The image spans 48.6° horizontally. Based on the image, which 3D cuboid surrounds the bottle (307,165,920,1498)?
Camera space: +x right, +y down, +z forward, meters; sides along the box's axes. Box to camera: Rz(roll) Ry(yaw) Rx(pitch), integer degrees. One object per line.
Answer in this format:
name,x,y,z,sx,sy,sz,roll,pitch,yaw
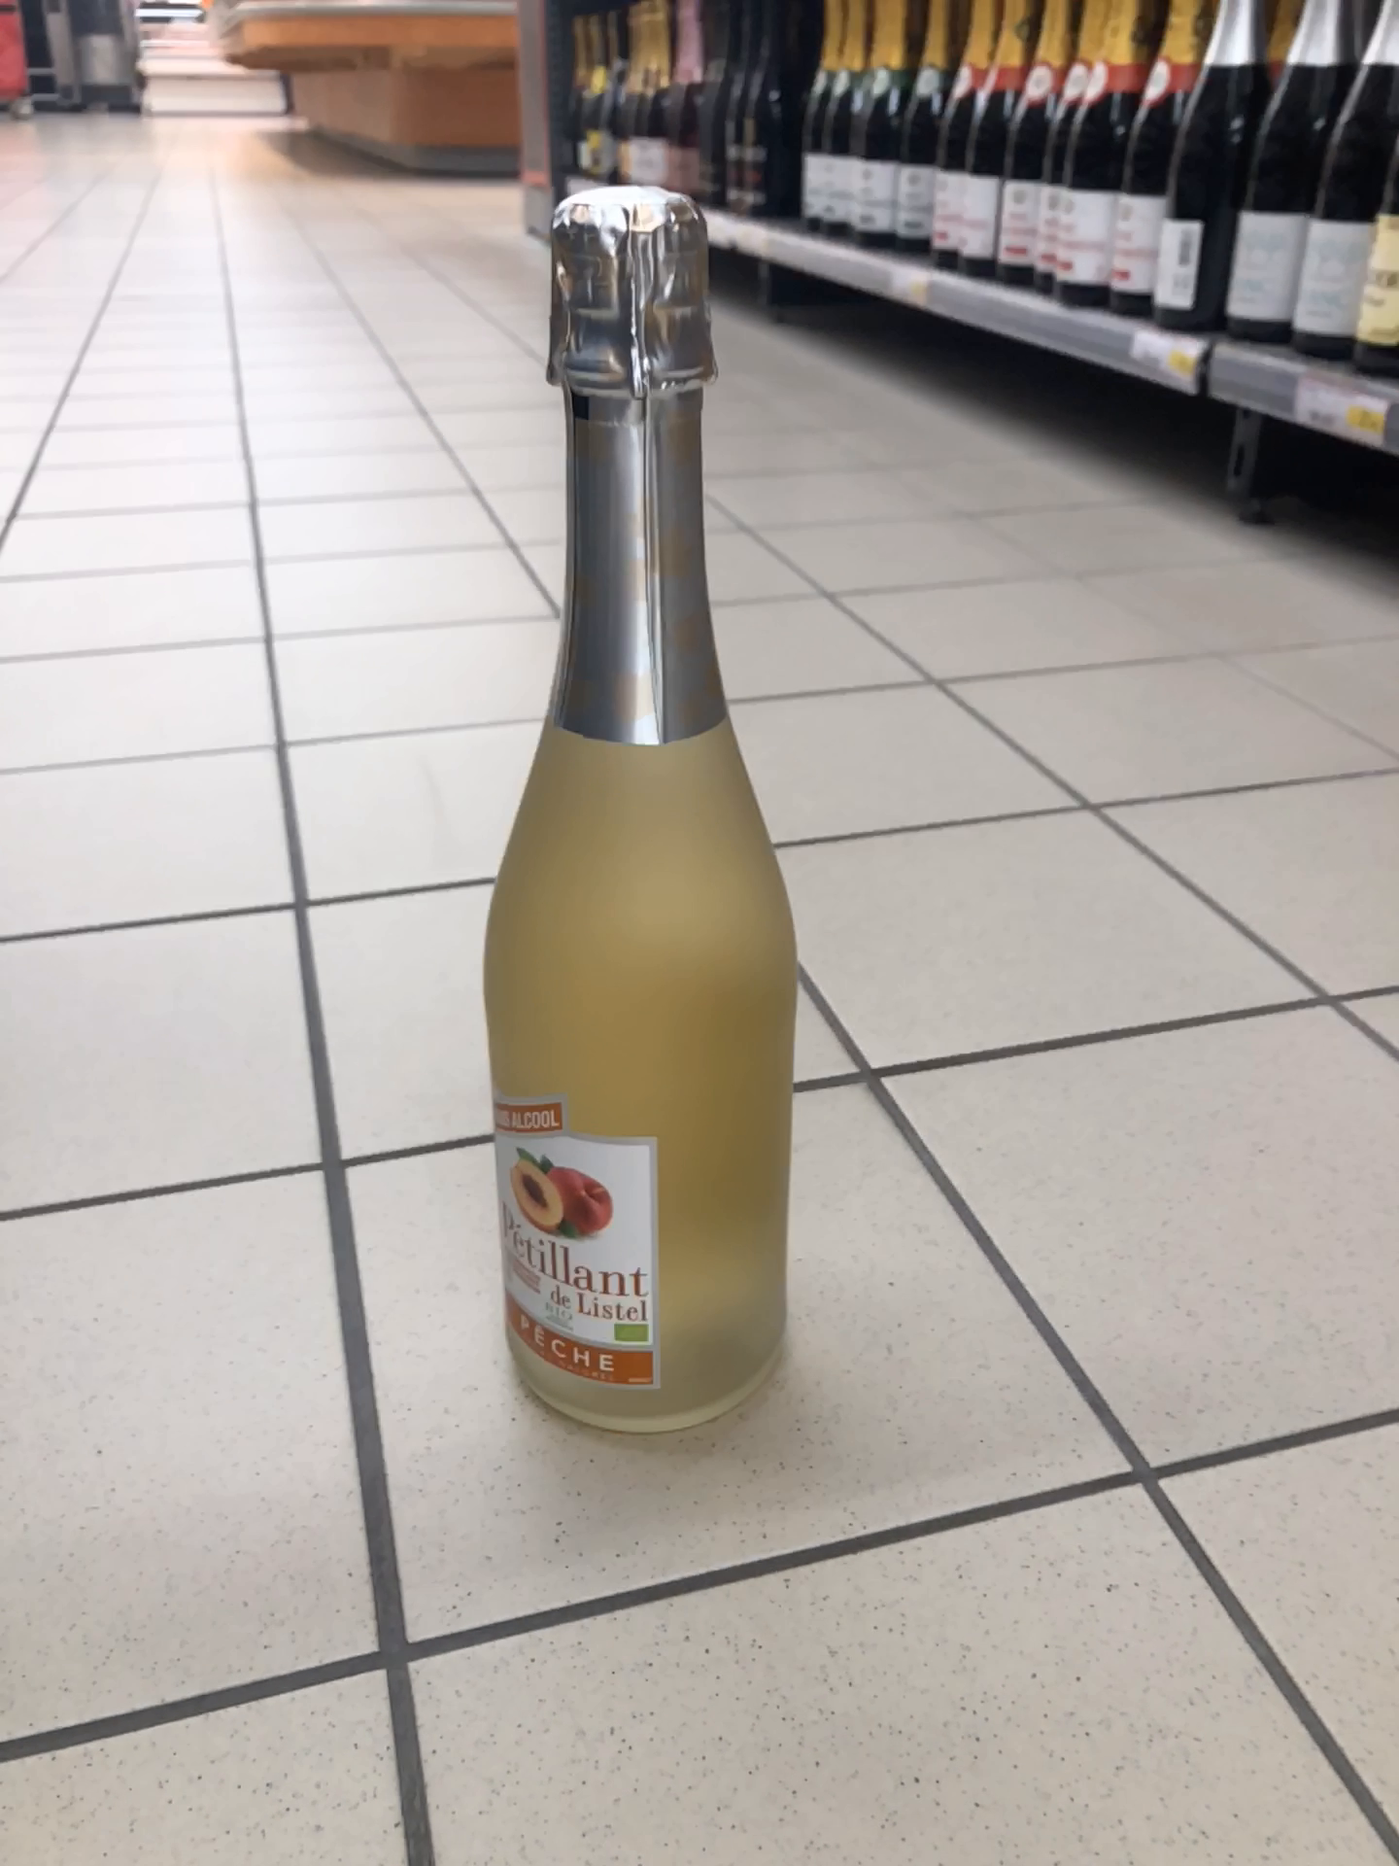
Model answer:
bottle,-0.016,-0.020,0.390,0.090,0.308,0.091,0,27,0
